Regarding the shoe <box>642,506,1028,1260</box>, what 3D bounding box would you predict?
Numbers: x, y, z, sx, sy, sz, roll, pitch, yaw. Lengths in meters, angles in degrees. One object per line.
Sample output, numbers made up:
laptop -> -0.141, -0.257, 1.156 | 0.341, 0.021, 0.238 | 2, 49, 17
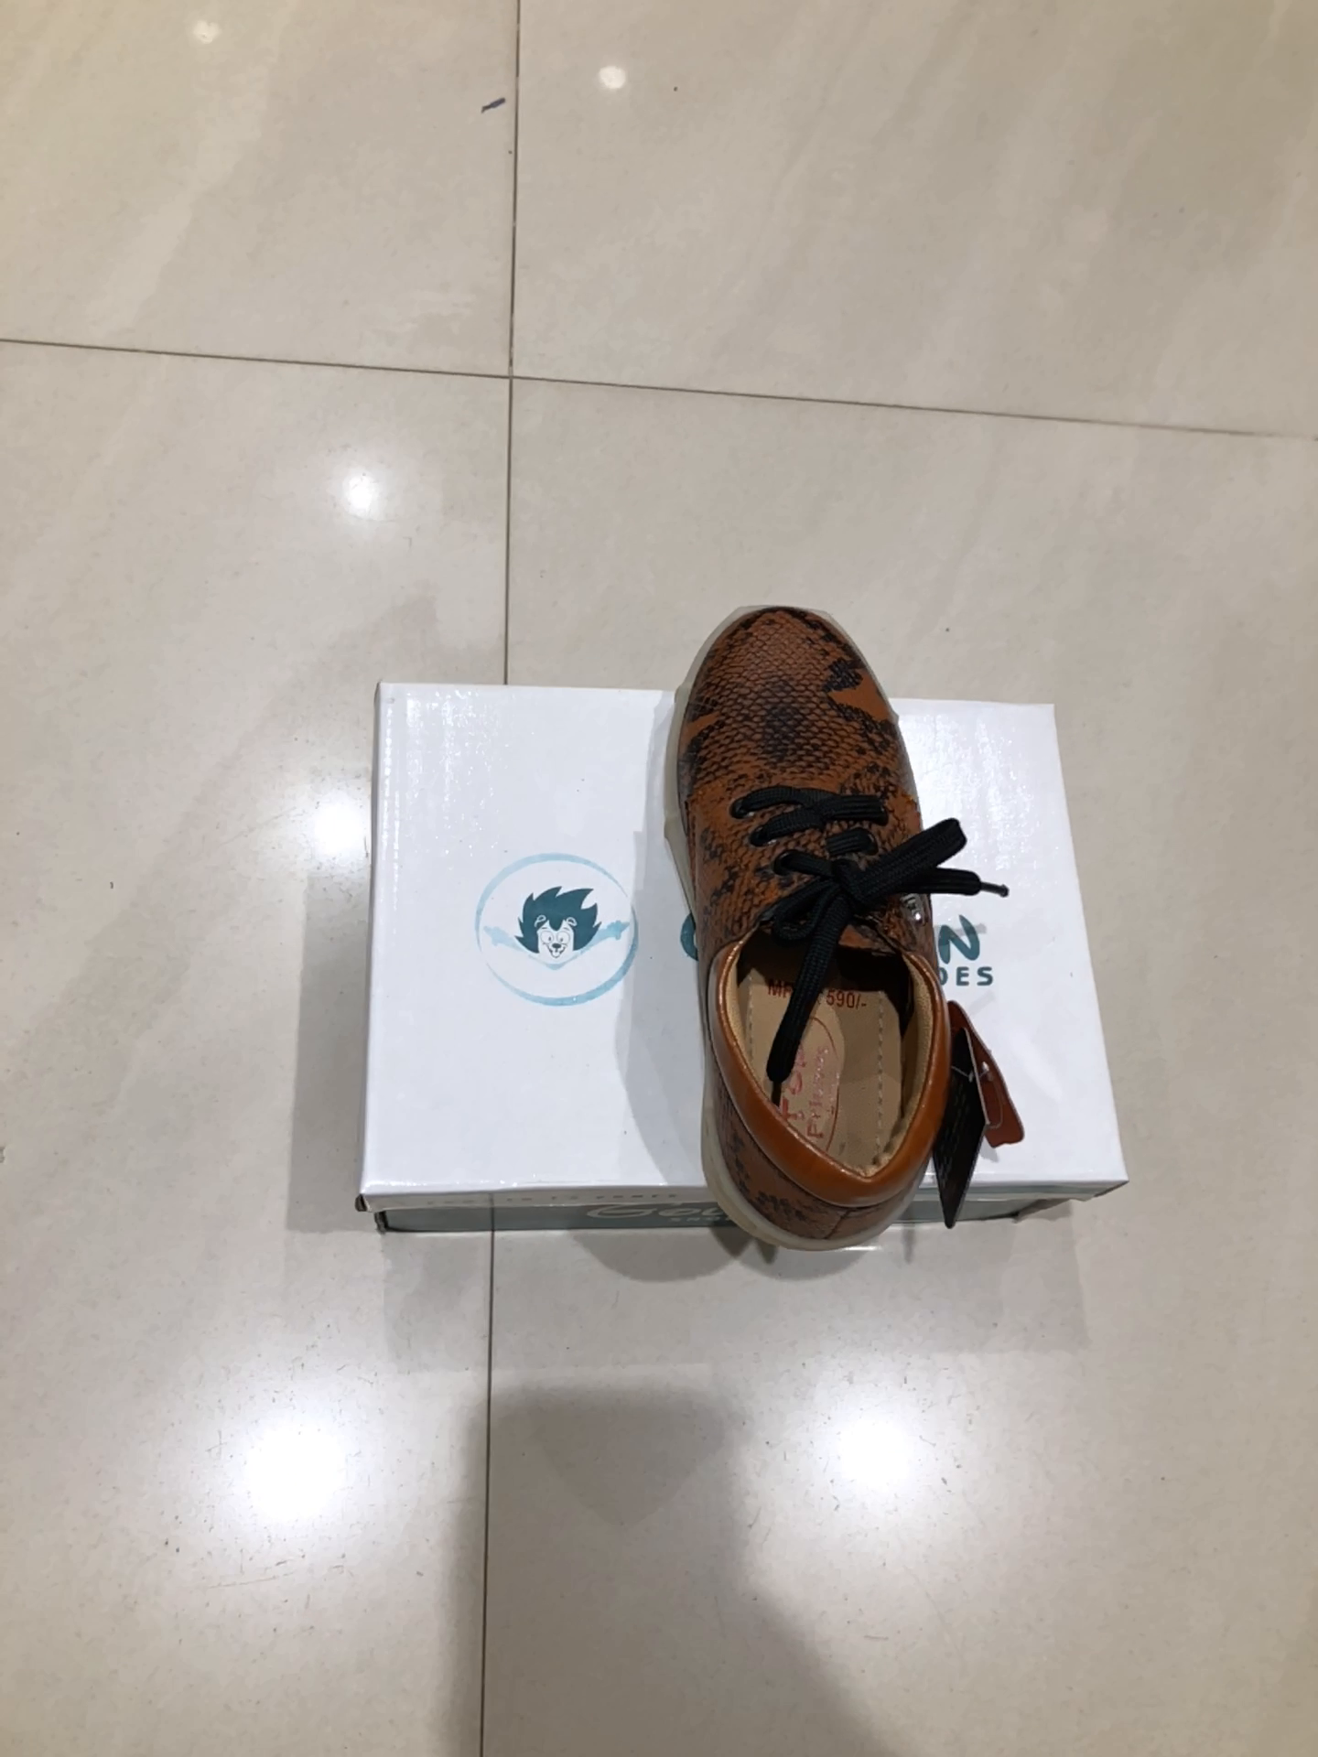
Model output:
shoe -> 0.042, 0.003, 0.427 | 0.080, 0.090, 0.201 | 1, 68, -7
